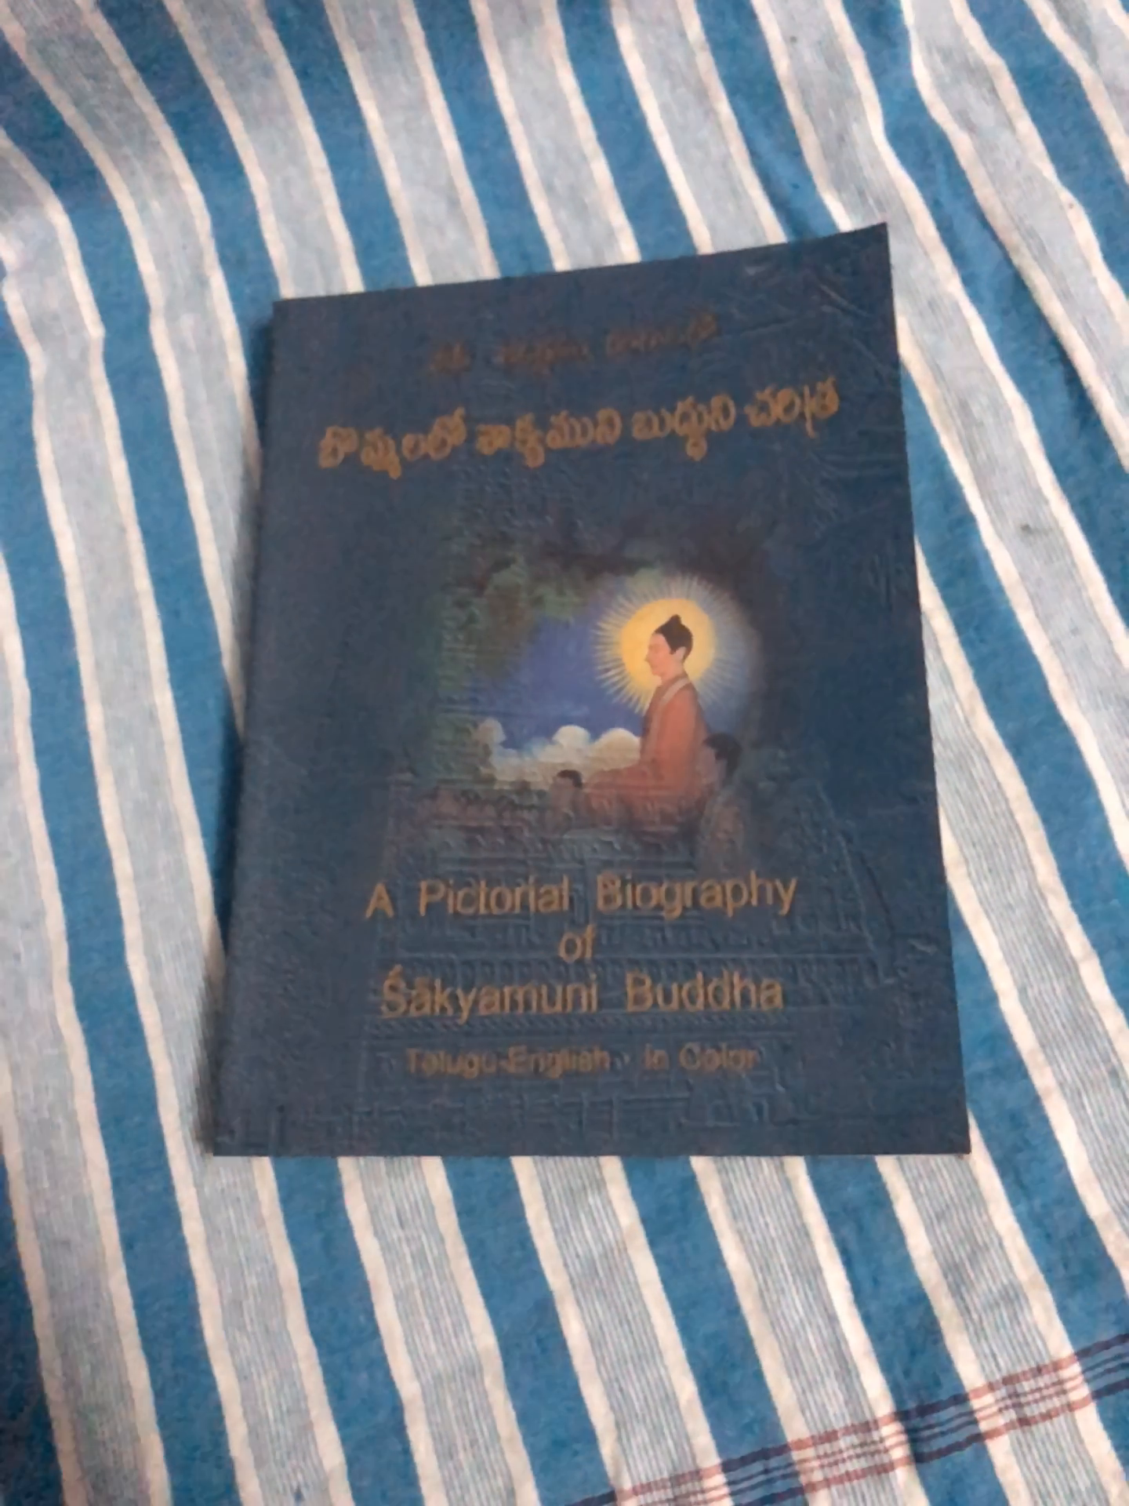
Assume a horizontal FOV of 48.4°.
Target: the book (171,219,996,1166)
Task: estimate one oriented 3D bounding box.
[{"bbox_3d":[0.001,-0.018,0.298,0.170,0.020,0.220,-3,72,9],"label":"book"}]
